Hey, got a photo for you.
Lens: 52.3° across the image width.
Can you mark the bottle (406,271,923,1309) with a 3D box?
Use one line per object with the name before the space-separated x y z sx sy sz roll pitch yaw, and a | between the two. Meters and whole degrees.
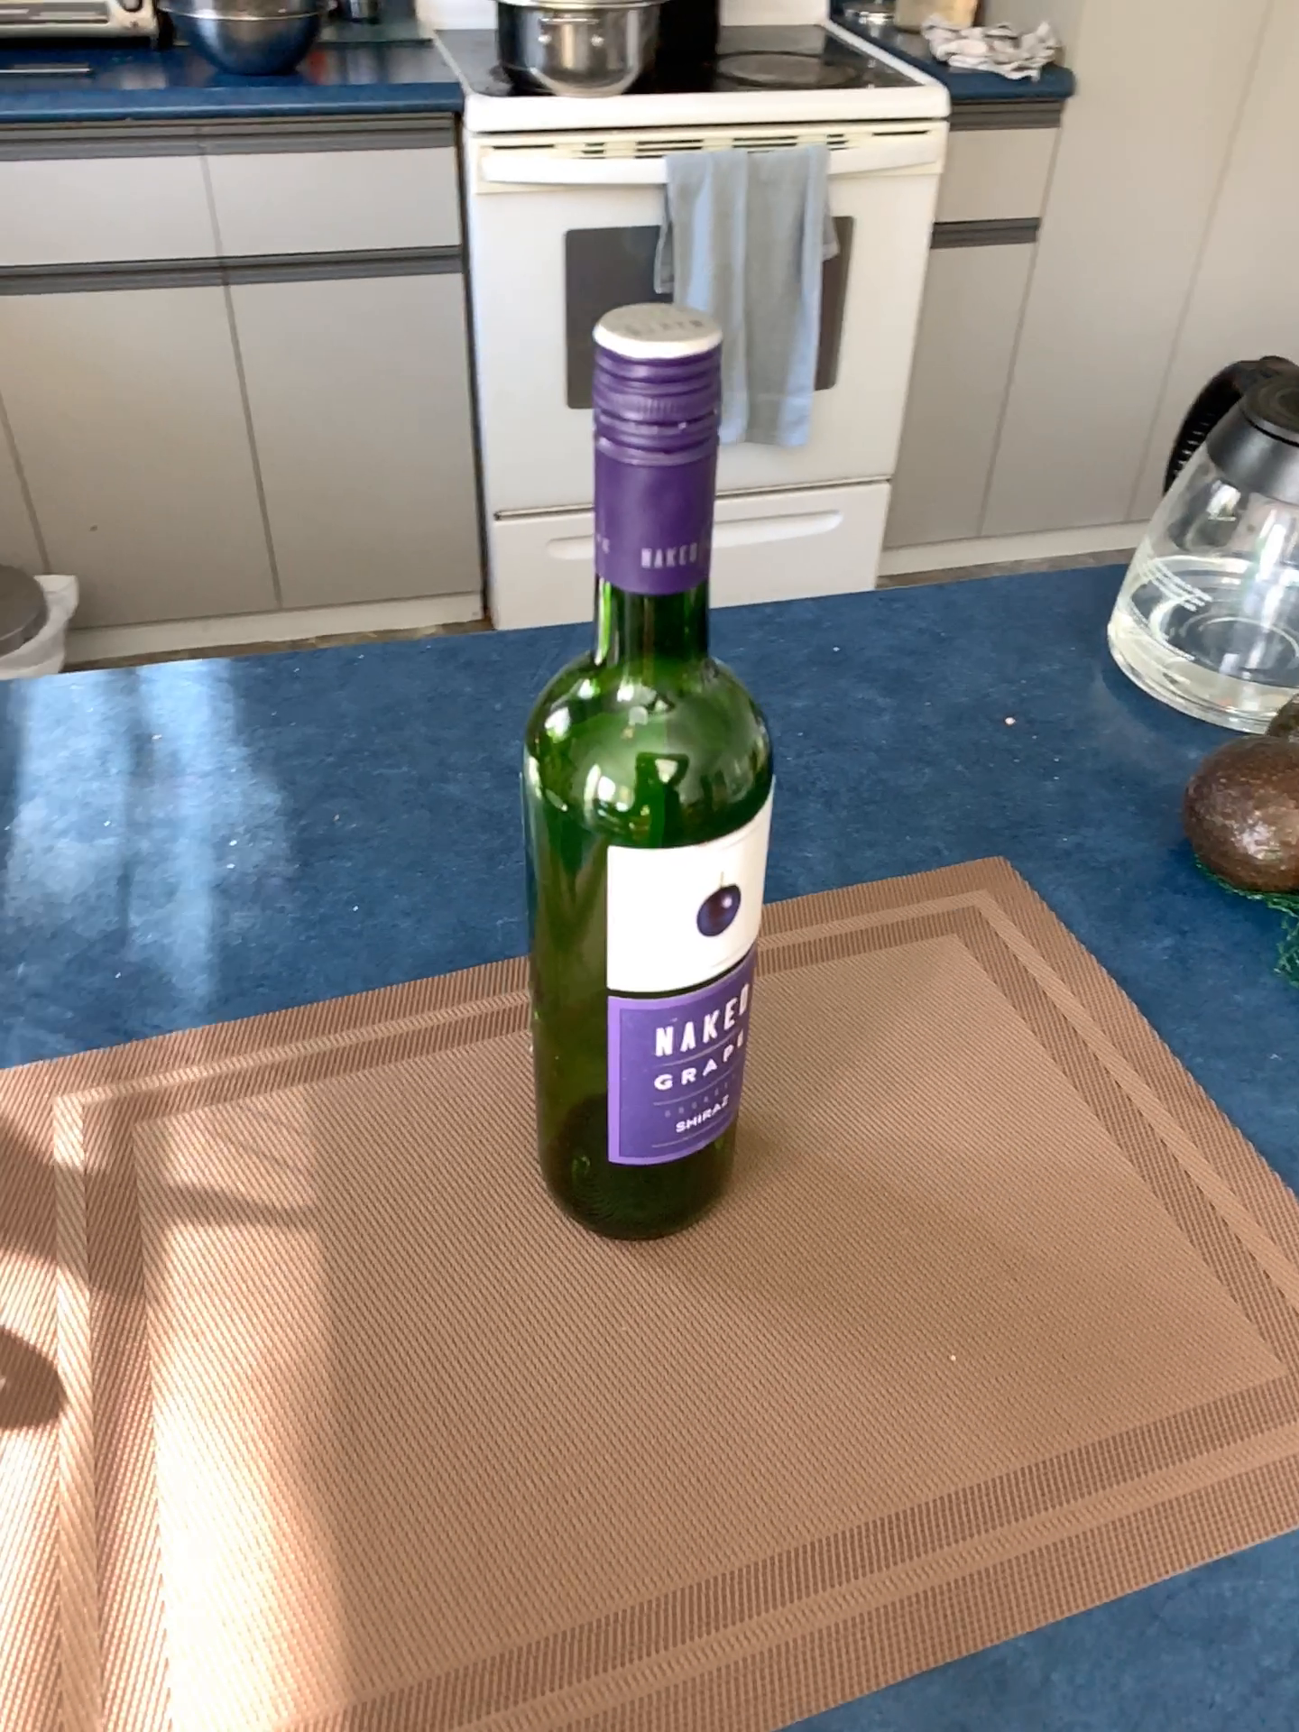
bottle | -0.001 -0.003 0.381 0.080 0.287 0.080 1 40 -1
